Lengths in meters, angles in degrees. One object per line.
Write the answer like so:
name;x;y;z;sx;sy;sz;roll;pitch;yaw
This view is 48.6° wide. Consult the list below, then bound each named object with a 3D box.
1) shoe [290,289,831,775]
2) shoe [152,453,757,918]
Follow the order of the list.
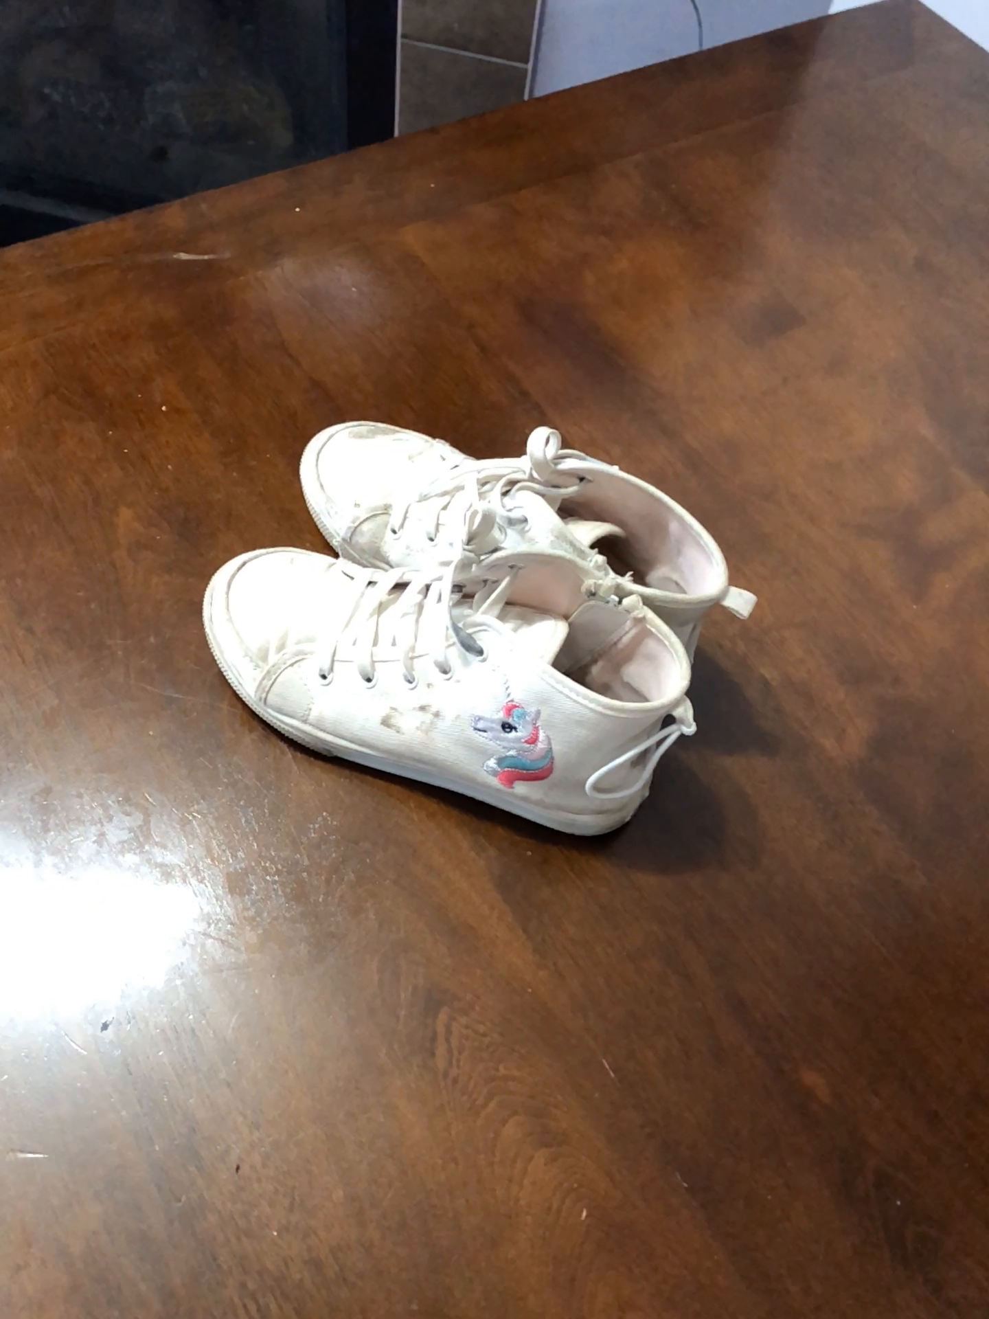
shoe;0.022;-0.060;0.511;0.220;0.100;0.090;32;60;13
shoe;-0.018;0.013;0.471;0.220;0.100;0.090;21;58;6
